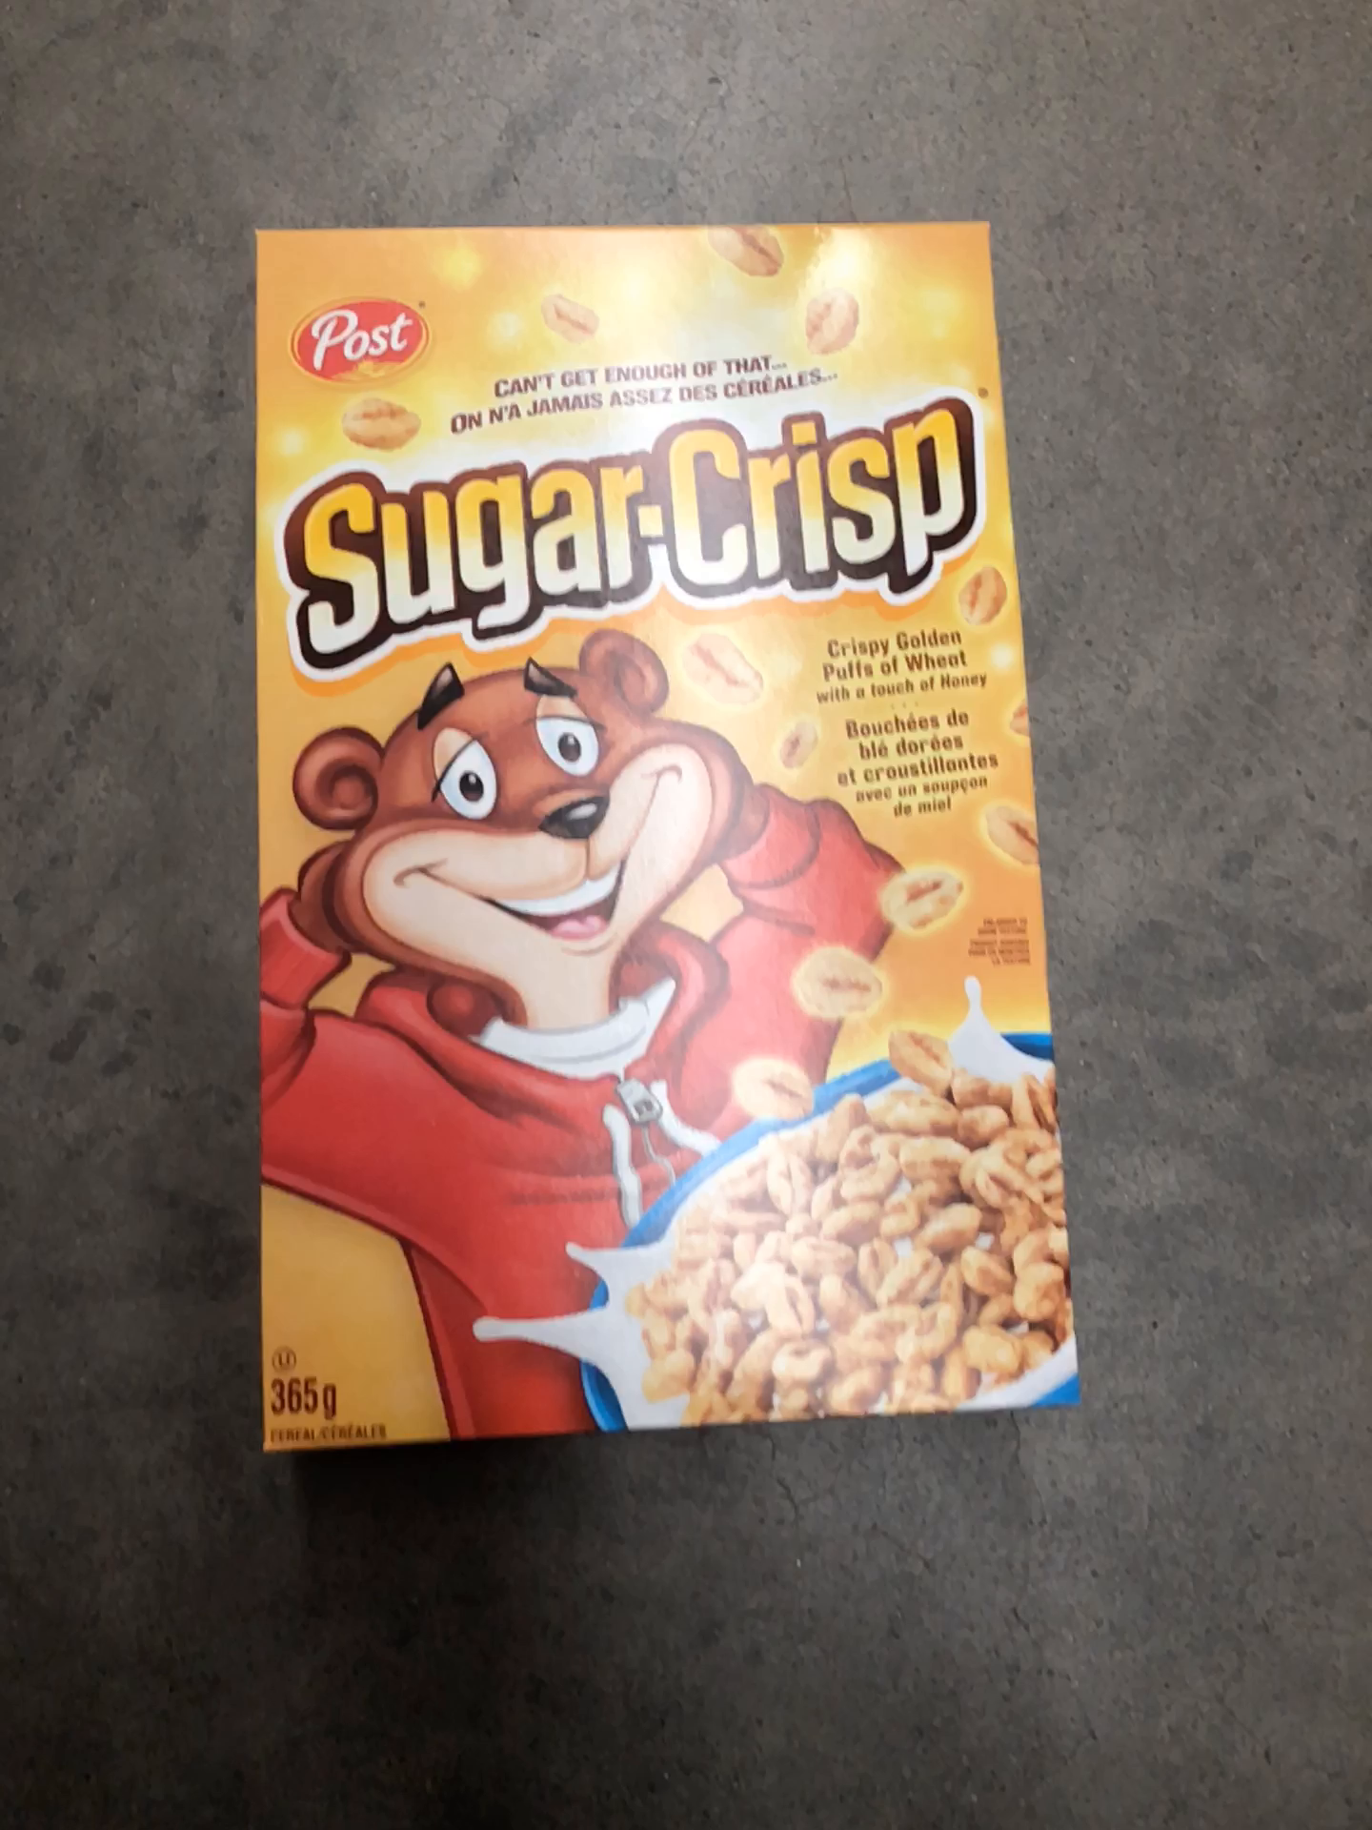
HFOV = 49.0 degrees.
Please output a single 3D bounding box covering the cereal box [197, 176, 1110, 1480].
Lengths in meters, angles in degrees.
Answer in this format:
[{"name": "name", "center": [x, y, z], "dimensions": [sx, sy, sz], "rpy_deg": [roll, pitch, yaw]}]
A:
[{"name": "cereal box", "center": [-0.013, -0.026, 0.378], "dimensions": [0.200, 0.060, 0.300], "rpy_deg": [-2, 83, -2]}]
